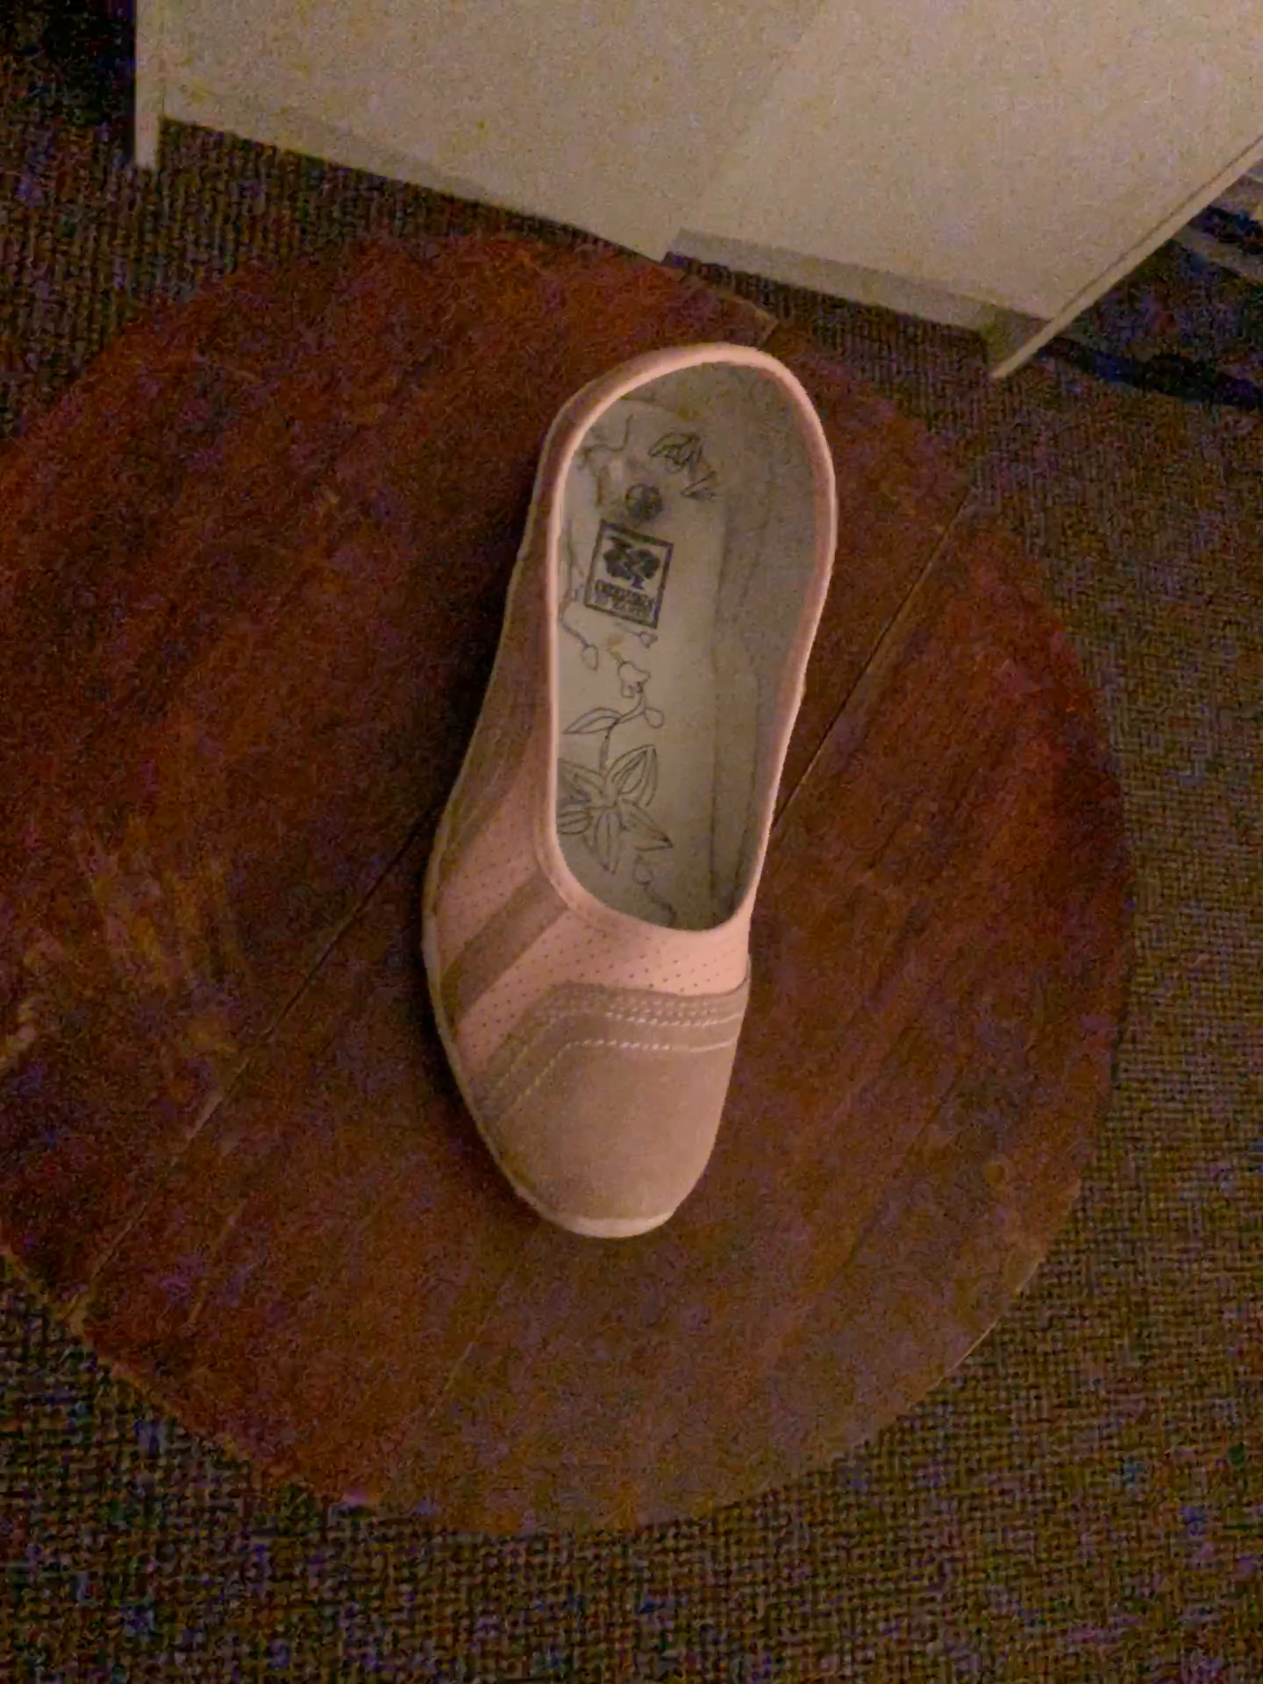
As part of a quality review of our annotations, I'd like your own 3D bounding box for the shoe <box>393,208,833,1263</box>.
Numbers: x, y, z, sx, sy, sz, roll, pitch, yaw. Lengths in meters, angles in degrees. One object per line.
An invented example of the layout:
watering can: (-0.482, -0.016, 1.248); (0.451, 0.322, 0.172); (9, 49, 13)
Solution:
shoe: (-0.002, -0.028, 0.362); (0.090, 0.070, 0.271); (9, 74, -19)
